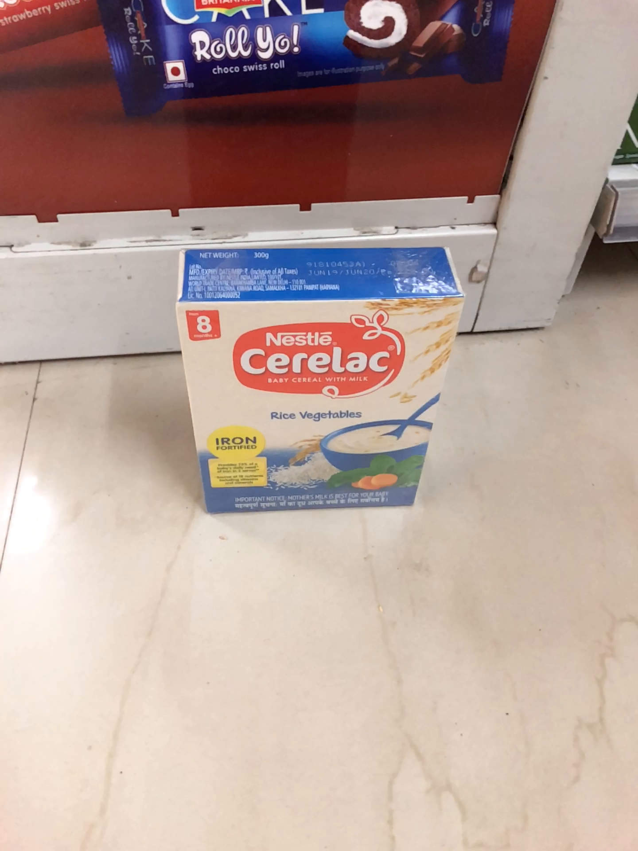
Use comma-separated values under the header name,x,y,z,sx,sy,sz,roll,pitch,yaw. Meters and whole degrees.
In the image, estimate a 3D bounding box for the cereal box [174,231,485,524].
name,x,y,z,sx,sy,sz,roll,pitch,yaw
cereal box,0.001,-0.021,0.454,0.160,0.199,0.060,-2,49,-5
